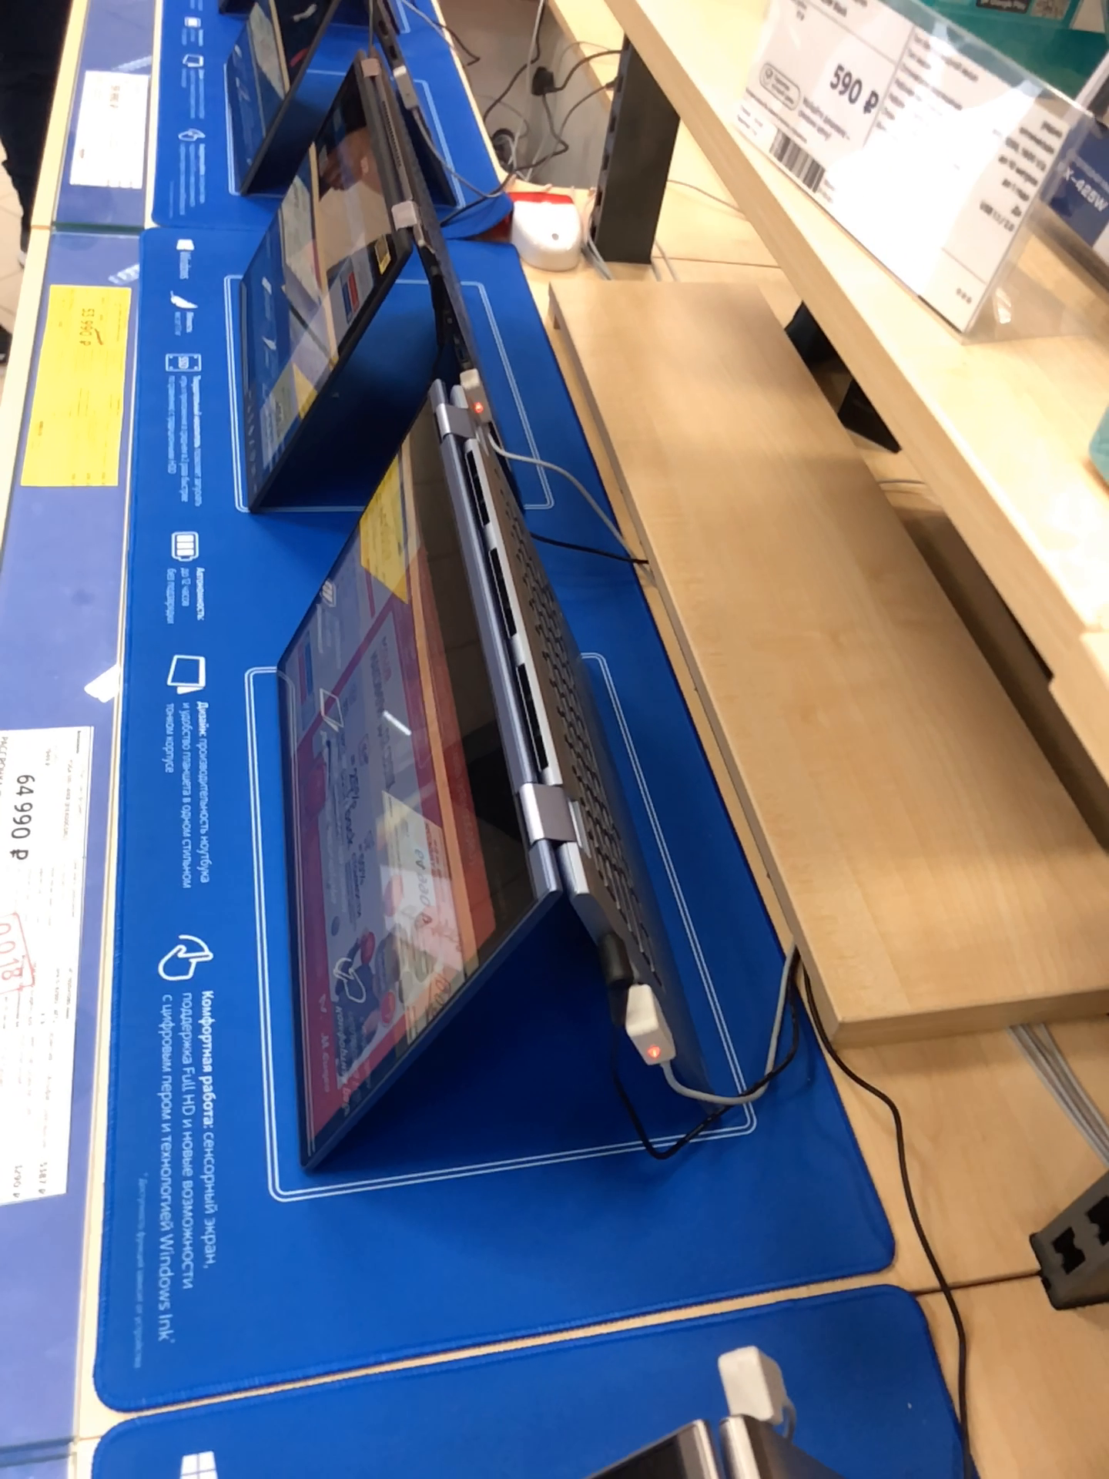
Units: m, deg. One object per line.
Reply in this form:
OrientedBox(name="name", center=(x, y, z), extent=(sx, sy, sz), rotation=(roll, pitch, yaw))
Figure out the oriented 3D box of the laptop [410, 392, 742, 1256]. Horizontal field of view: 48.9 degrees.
OrientedBox(name="laptop", center=(0.003, 0.072, 0.701), extent=(0.221, 0.157, 0.306), rotation=(27, 34, -41))
